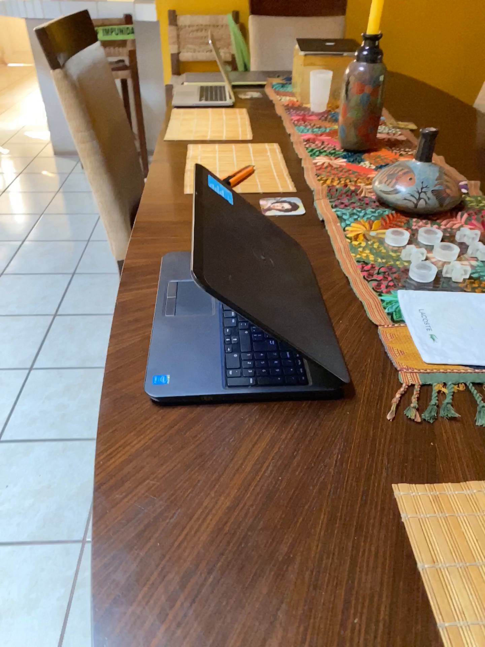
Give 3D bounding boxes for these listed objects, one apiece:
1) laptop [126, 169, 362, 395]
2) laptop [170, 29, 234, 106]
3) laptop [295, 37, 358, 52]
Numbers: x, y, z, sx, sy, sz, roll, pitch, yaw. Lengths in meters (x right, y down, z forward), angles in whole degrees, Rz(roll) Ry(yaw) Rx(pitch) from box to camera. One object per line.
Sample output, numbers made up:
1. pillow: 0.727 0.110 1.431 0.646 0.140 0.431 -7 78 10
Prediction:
1. laptop: -0.011 -0.082 0.710 0.248 0.158 0.358 -1 36 -3
2. laptop: -0.155 -1.005 1.927 0.221 0.207 0.373 -3 36 -4
3. laptop: 0.306 -1.036 1.839 0.201 0.001 0.294 1 38 -2
